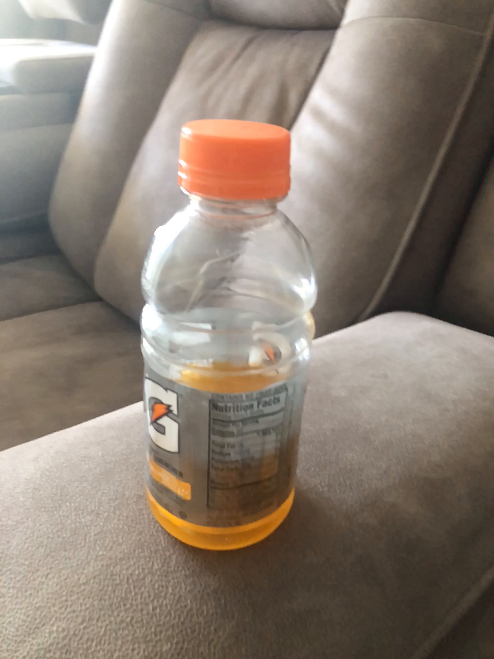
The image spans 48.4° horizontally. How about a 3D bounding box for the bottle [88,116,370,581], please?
[{"bbox_3d":[-0.011,0.007,0.205,0.070,0.149,0.070,0,30,0],"label":"bottle"}]
